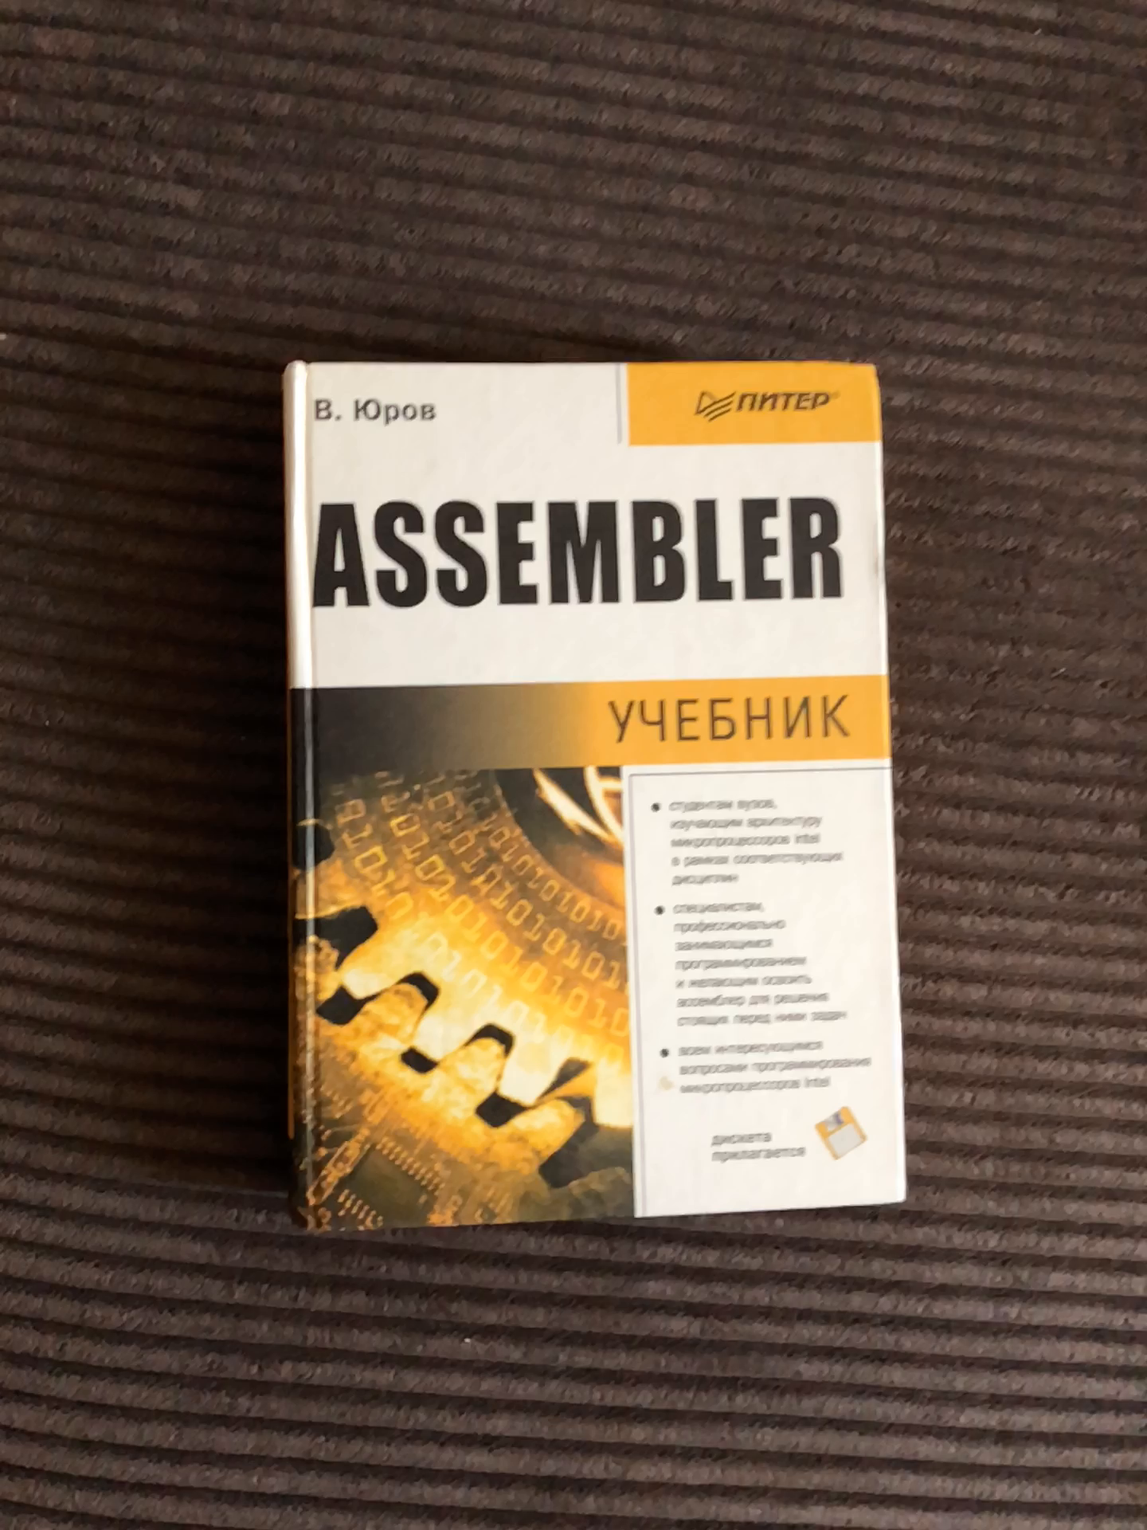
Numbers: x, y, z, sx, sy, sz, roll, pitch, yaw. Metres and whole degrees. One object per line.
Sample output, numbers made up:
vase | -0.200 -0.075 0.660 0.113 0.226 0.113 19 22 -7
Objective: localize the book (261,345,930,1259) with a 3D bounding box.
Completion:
book | 0.003 0.006 0.364 0.170 0.058 0.236 -2 86 -6
